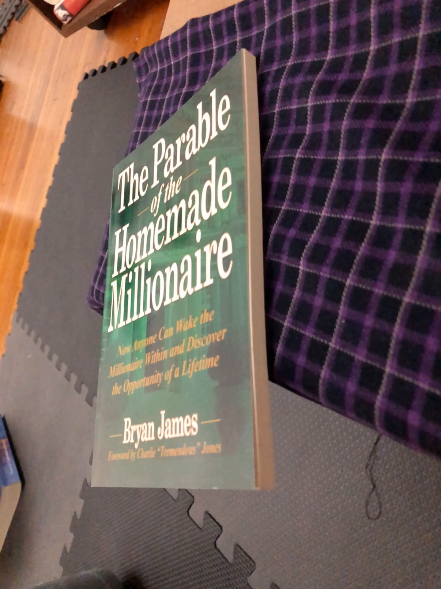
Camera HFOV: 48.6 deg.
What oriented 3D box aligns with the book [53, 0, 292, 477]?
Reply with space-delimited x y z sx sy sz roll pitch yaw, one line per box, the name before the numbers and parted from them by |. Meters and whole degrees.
book | -0.036 -0.018 0.255 0.161 0.020 0.210 -24 59 46
